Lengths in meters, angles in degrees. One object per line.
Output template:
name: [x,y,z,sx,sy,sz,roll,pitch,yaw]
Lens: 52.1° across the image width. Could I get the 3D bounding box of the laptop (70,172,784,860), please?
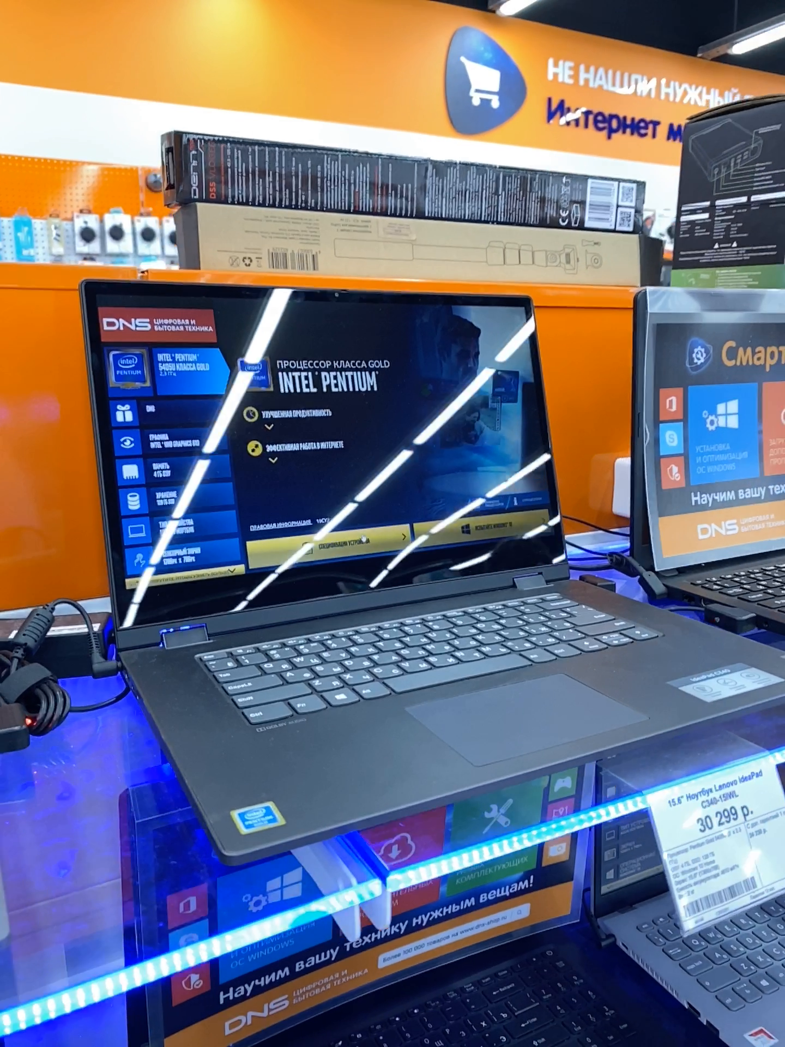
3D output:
laptop: [0.023,-0.036,0.491,0.362,0.232,0.318,-6,12,-28]
